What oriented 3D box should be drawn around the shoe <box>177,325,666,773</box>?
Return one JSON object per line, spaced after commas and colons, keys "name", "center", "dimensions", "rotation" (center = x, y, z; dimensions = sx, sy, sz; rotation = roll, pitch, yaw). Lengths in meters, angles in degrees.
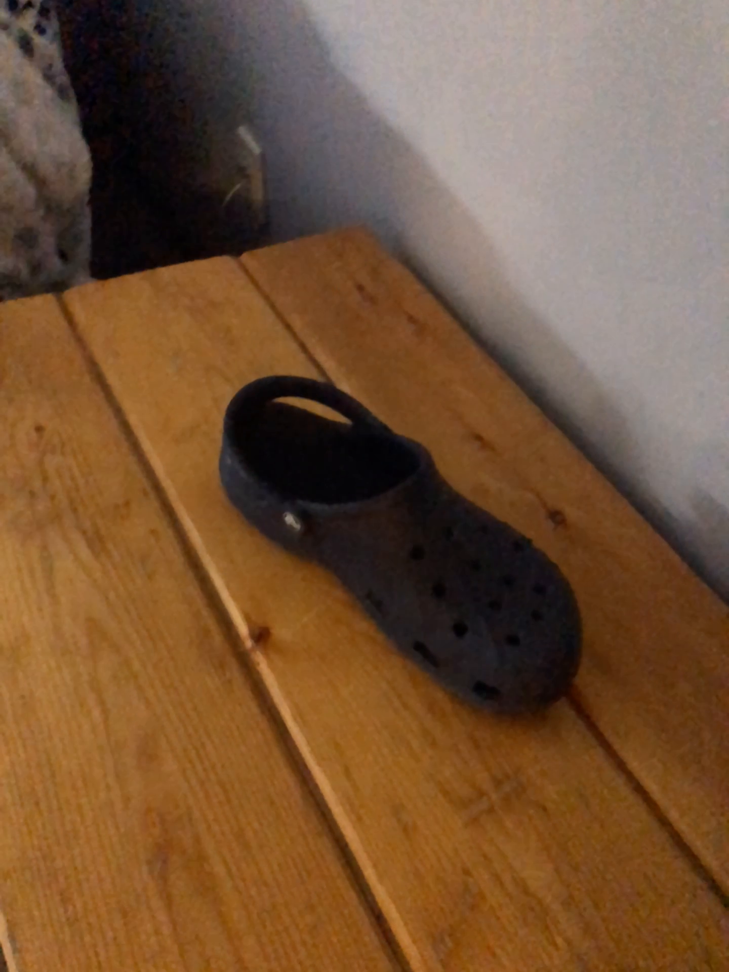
{"name": "shoe", "center": [0.023, 0.023, 0.524], "dimensions": [0.290, 0.080, 0.130], "rotation": [39, 55, 25]}
